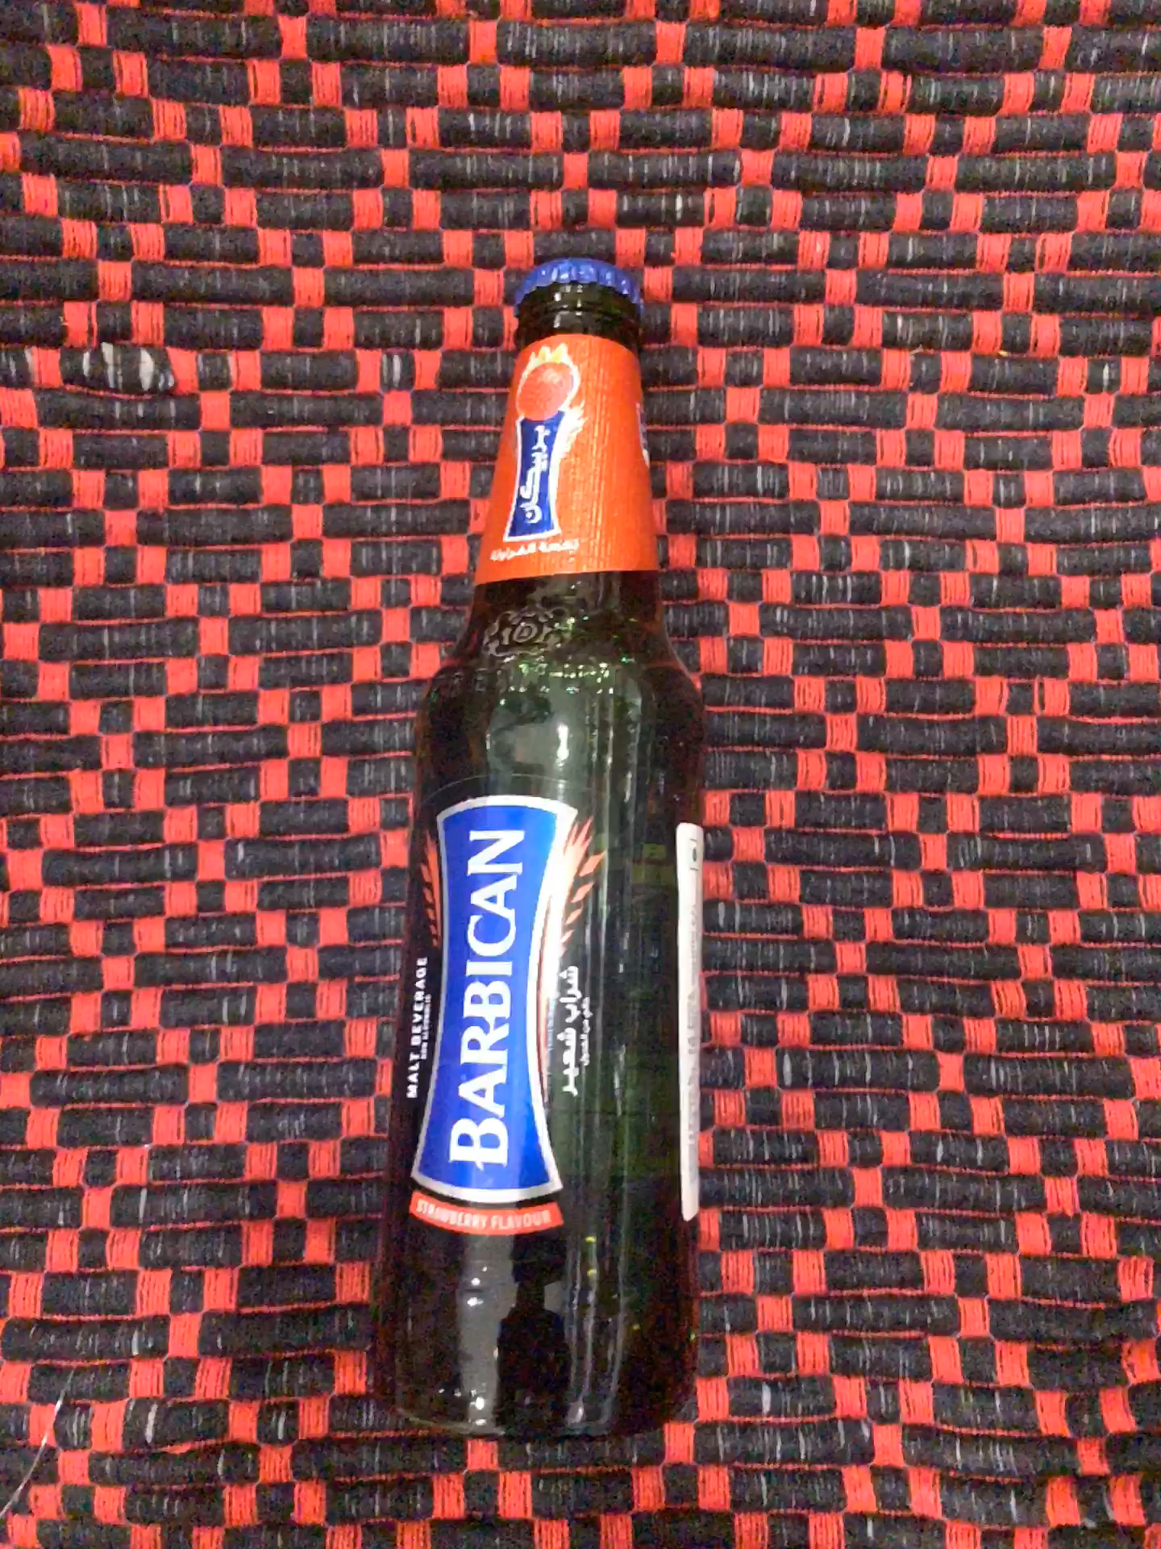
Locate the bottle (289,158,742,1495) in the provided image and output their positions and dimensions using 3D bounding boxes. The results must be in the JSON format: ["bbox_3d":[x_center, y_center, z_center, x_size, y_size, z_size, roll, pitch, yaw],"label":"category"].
[{"bbox_3d":[-0.006,0.004,0.237,0.060,0.070,0.220,-3,77,16],"label":"bottle"}]
